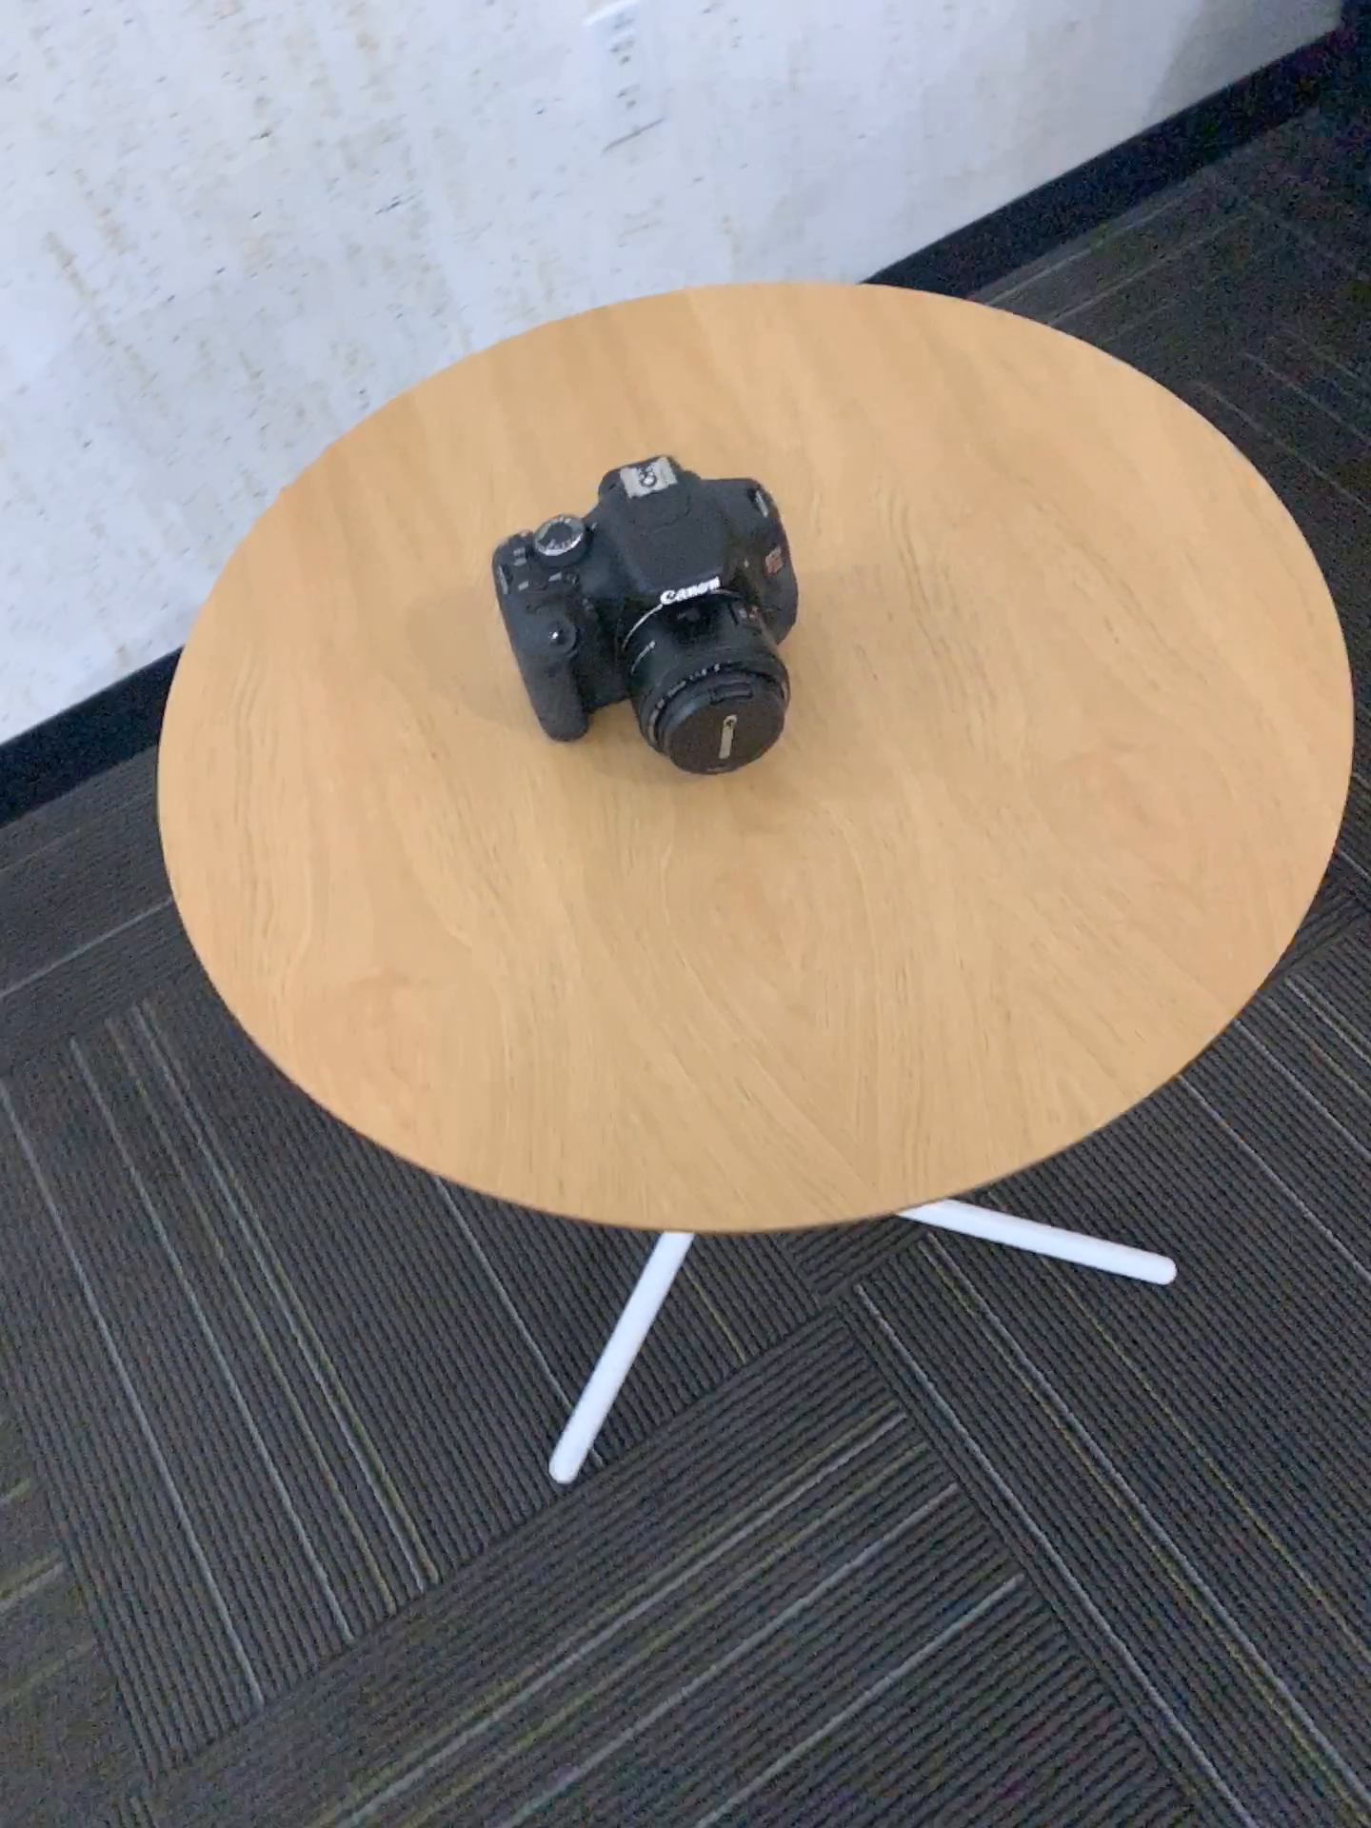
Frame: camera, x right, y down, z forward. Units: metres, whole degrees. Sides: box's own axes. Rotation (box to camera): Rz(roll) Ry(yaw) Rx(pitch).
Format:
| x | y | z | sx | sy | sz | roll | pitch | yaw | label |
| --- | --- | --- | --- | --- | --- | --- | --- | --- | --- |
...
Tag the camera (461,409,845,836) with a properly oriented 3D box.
| x | y | z | sx | sy | sz | roll | pitch | yaw | label |
| --- | --- | --- | --- | --- | --- | --- | --- | --- | --- |
| -0.012 | -0.126 | 0.615 | 0.130 | 0.100 | 0.117 | -17 | 59 | -3 | camera |
